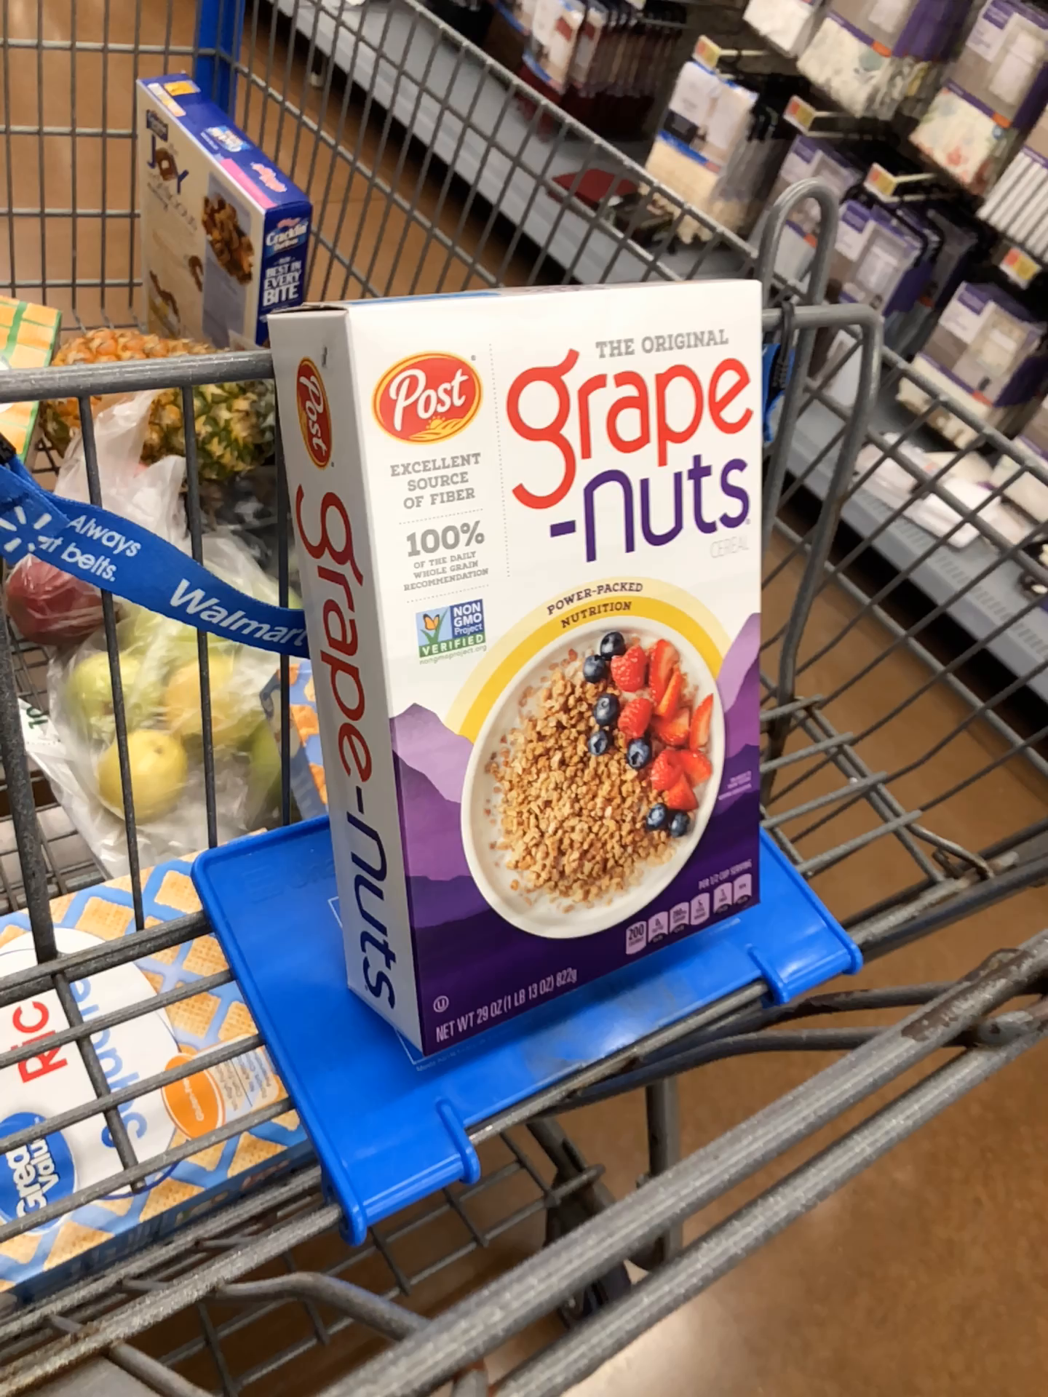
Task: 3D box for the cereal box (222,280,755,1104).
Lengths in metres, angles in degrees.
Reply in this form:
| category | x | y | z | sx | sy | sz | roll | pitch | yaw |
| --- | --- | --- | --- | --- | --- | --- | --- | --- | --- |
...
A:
| category | x | y | z | sx | sy | sz | roll | pitch | yaw |
| --- | --- | --- | --- | --- | --- | --- | --- | --- | --- |
| cereal box | 0.002 | -0.010 | 0.406 | 0.170 | 0.250 | 0.050 | -16 | 21 | -32 |
